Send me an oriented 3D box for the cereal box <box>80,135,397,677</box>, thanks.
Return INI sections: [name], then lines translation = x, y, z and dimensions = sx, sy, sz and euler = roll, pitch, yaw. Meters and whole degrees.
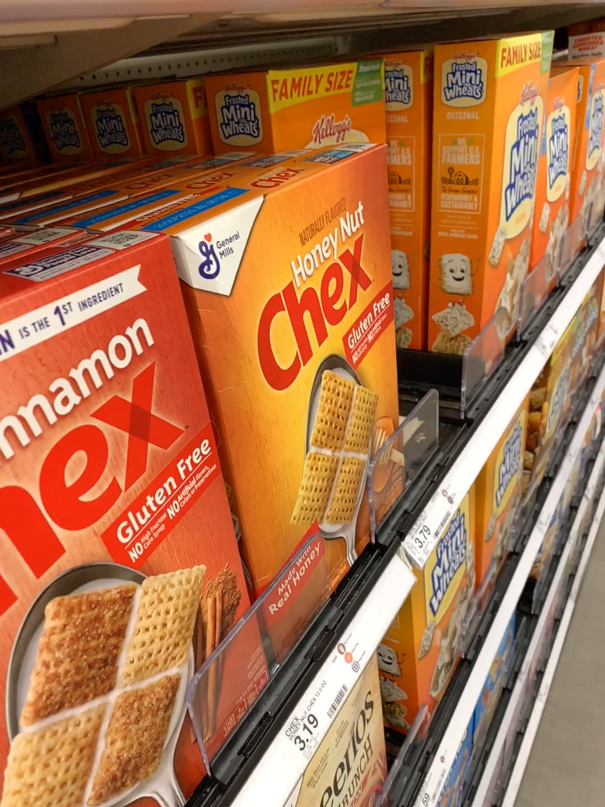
[cereal box]
translation = -0.009, -0.006, 0.402
dimensions = 0.060, 0.278, 0.201
euler = 12, 34, 29
